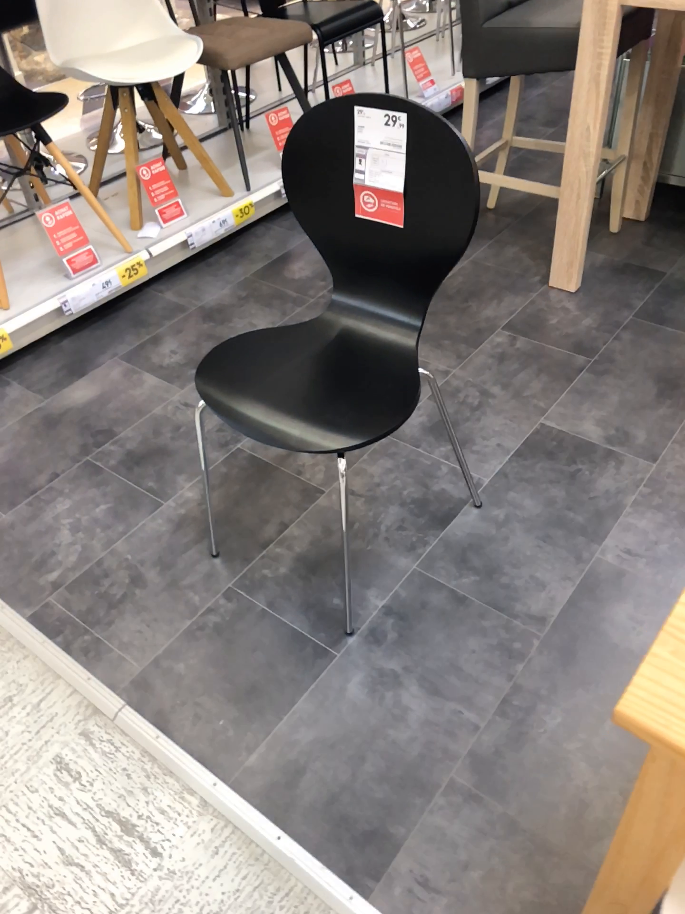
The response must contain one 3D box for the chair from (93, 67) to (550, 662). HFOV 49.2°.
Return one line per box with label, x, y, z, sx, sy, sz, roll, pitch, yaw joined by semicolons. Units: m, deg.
chair;0.007;-0.163;1.427;0.490;0.895;0.503;24;49;29
